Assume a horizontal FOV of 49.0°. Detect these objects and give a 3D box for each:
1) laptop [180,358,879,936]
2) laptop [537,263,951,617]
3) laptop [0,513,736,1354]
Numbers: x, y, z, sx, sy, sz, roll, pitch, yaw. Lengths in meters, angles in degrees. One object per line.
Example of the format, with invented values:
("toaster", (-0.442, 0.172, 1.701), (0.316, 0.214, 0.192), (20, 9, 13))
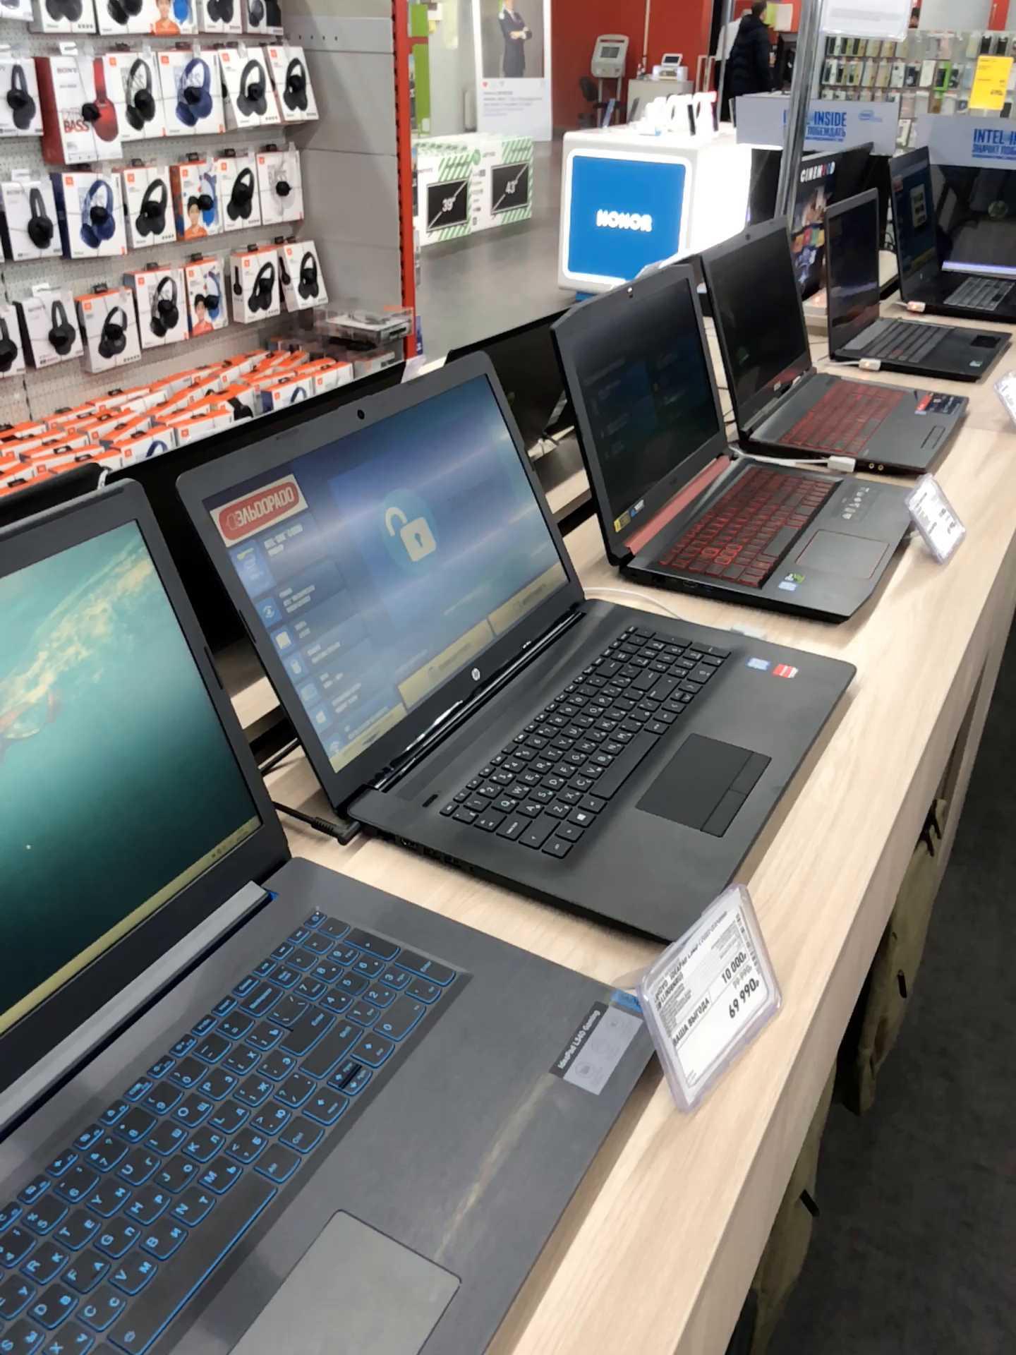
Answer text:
("laptop", (0.038, -0.068, 0.851), (0.373, 0.213, 0.389), (16, 32, 23))
("laptop", (0.271, -0.283, 1.226), (0.302, 0.224, 0.404), (17, 33, 20))
("laptop", (-0.157, 0.117, 0.479), (0.372, 0.226, 0.382), (15, 29, 20))
